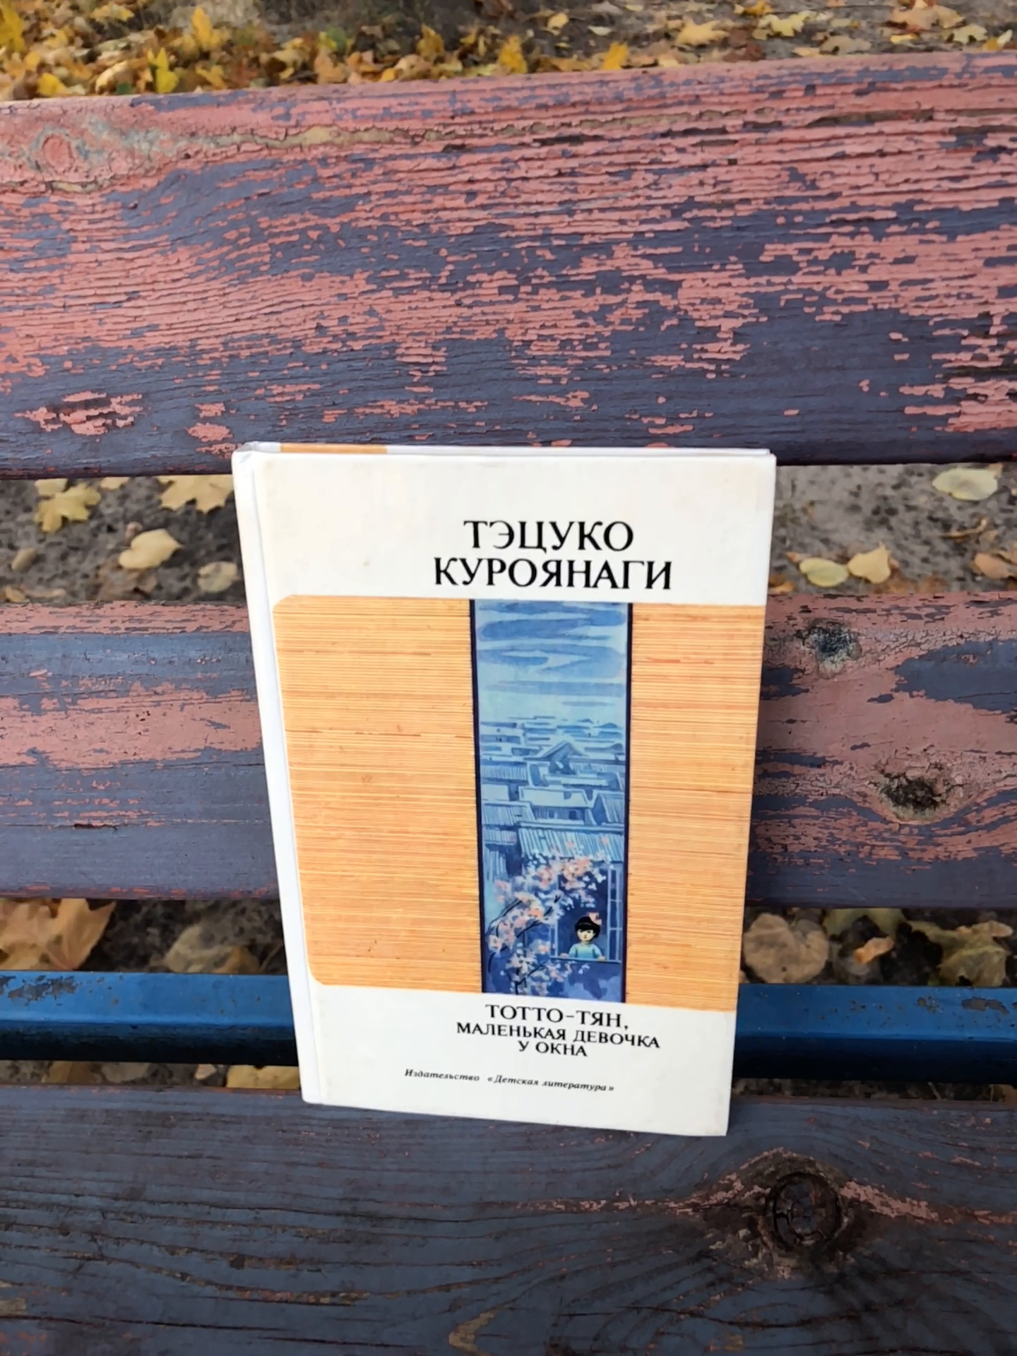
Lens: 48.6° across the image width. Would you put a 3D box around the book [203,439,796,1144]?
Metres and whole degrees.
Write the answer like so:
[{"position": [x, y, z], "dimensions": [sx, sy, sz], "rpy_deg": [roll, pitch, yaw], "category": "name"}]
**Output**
[{"position": [-0.003, 0.039, 0.299], "dimensions": [0.134, 0.198, 0.016], "rpy_deg": [2, 23, 3], "category": "book"}]
